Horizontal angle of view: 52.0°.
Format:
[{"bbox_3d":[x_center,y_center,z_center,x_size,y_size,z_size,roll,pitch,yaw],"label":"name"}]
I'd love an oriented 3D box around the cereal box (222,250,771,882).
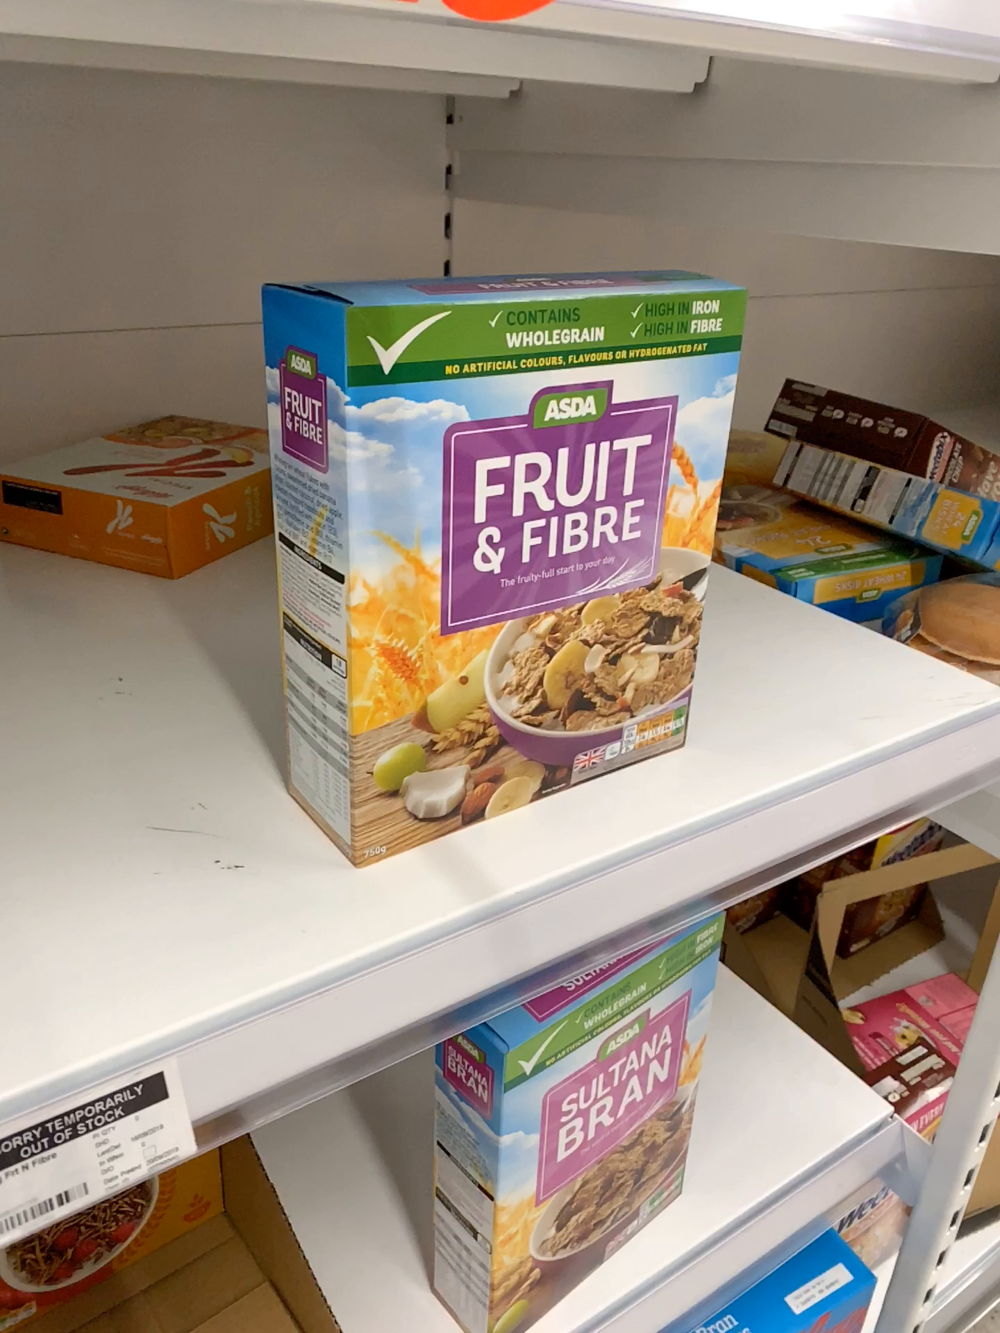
[{"bbox_3d":[0.005,-0.062,0.508,0.241,0.258,0.080,-16,30,-32],"label":"cereal box"}]
